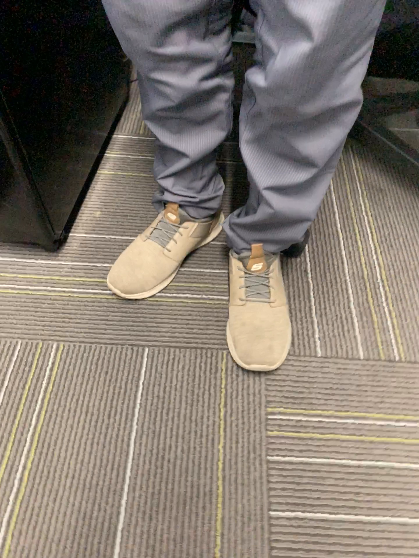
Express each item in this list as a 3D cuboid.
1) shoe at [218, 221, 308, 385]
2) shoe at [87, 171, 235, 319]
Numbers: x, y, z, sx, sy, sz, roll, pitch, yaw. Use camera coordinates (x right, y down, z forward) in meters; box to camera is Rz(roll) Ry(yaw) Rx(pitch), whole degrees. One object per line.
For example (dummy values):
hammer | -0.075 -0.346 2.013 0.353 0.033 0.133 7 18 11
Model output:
shoe | 0.087 0.036 0.810 0.126 0.098 0.303 0 54 -3
shoe | -0.084 -0.077 0.851 0.107 0.098 0.302 32 59 19
